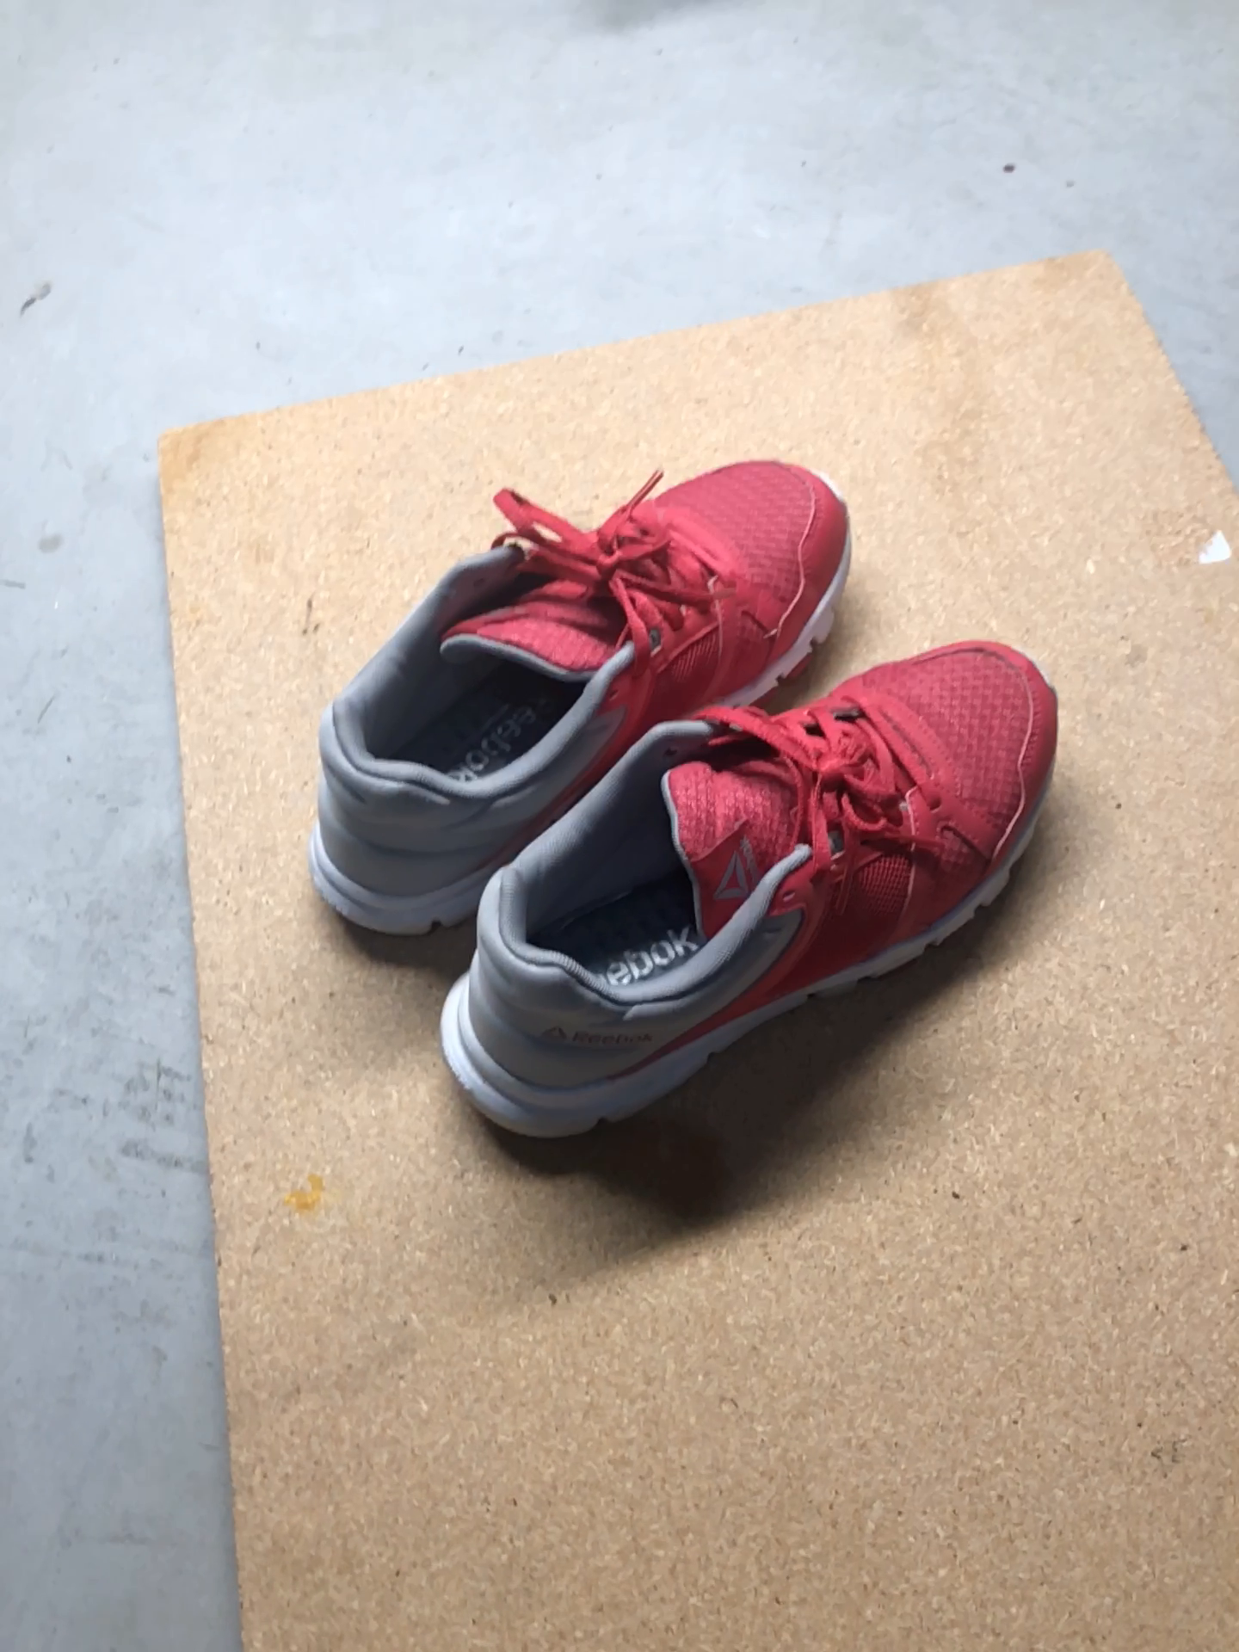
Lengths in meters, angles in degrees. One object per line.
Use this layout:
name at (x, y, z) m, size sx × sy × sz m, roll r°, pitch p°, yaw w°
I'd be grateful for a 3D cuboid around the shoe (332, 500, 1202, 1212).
shoe at (0.052, 0.010, 0.486) m, size 0.270 × 0.100 × 0.100 m, roll -30°, pitch 65°, yaw -12°

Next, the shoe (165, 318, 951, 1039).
shoe at (-0.015, -0.060, 0.528) m, size 0.270 × 0.100 × 0.110 m, roll -39°, pitch 67°, yaw -16°
